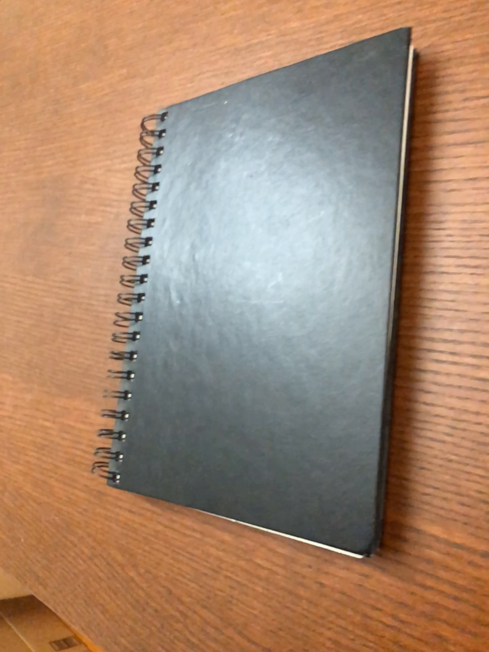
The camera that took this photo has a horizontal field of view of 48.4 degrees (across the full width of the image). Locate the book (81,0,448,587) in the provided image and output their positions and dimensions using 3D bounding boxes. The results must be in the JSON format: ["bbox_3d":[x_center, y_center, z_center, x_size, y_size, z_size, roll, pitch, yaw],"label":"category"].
[{"bbox_3d":[0.001,-0.023,0.304,0.201,0.030,0.260,-1,79,38],"label":"book"}]
